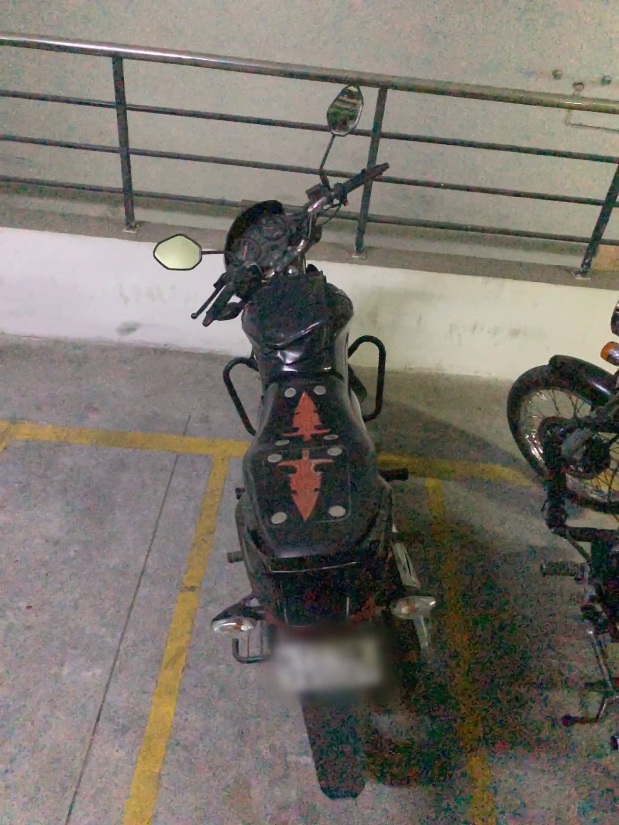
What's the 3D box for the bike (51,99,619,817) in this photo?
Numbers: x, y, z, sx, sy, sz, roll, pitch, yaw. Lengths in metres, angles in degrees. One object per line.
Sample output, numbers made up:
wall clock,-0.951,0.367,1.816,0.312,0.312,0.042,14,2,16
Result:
bike,-0.156,-0.049,1.765,0.755,1.067,1.684,-2,39,-12
